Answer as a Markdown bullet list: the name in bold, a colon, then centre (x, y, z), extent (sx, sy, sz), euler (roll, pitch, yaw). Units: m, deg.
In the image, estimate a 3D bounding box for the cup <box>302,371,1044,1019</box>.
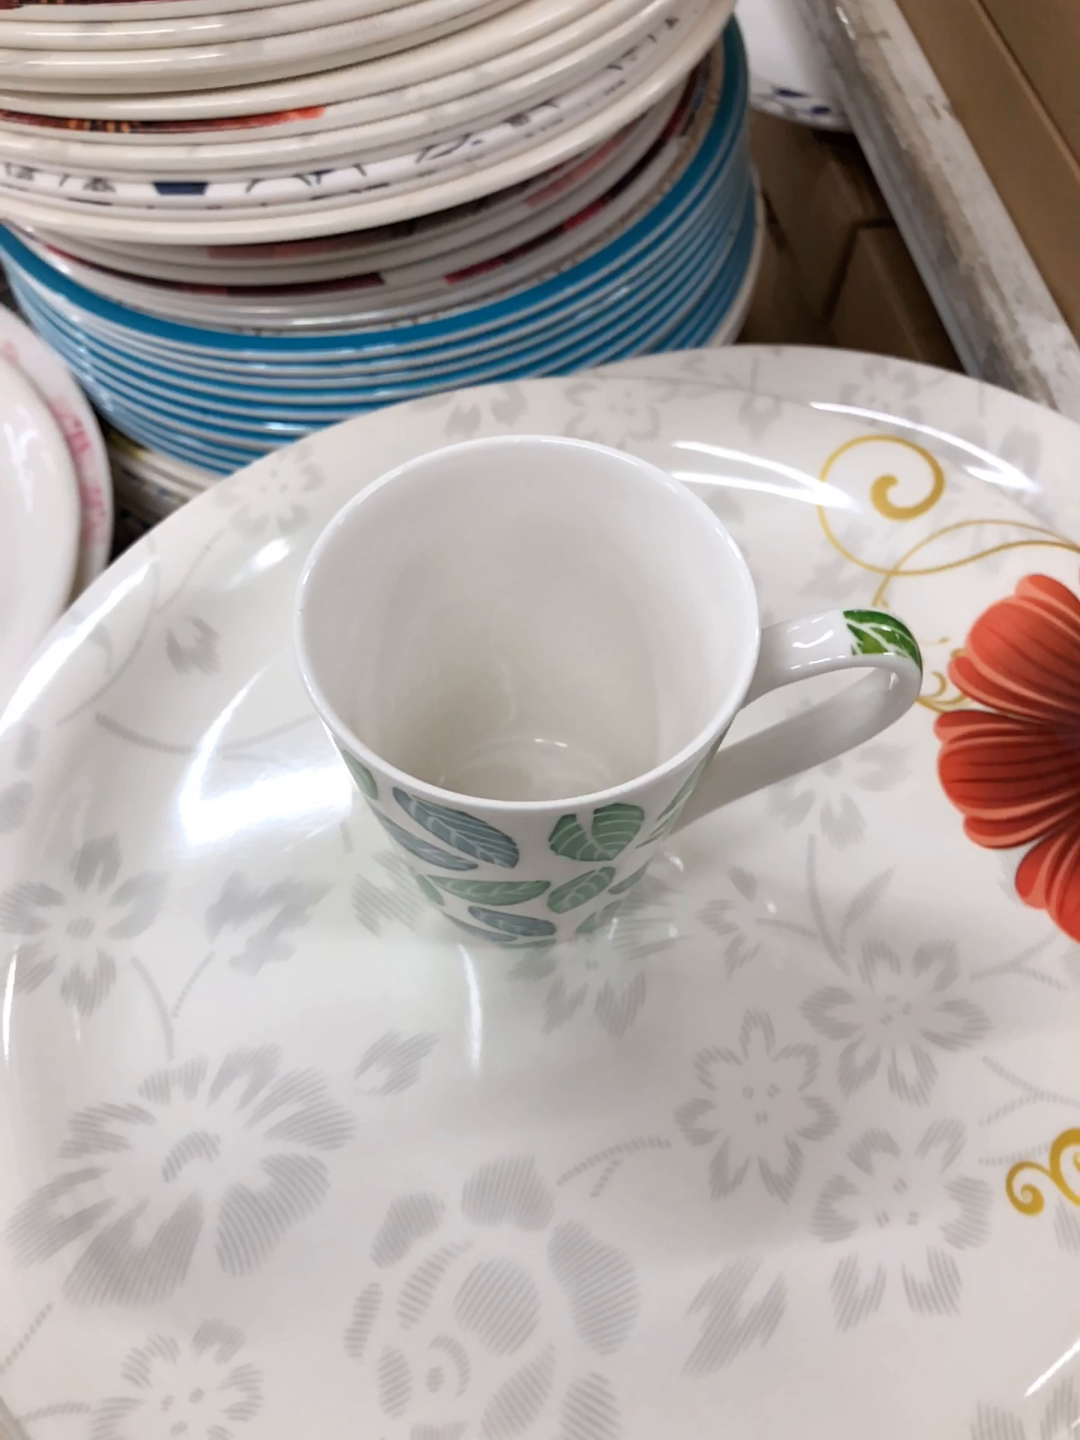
- **cup**: centre (0.019, 0.001, 0.272), extent (0.120, 0.120, 0.080), euler (-8, 61, -6)
